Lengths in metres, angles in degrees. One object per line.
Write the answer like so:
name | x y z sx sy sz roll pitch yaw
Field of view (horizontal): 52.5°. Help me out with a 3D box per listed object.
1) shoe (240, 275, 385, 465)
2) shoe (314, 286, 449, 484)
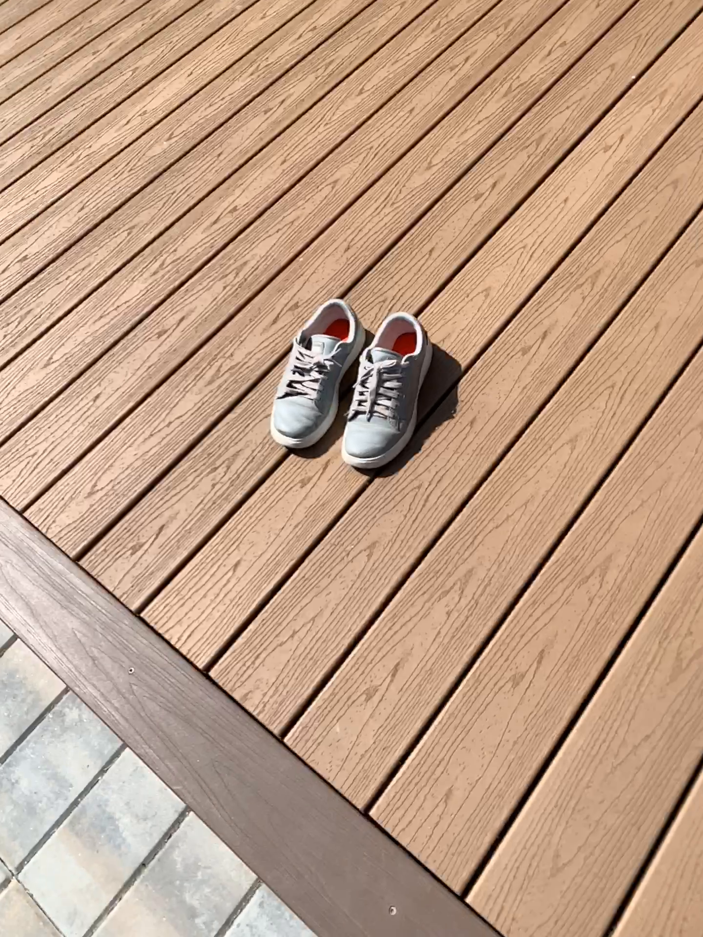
shoe | -0.054 -0.161 1.133 0.120 0.100 0.280 14 63 16
shoe | 0.056 -0.136 1.119 0.120 0.100 0.290 13 62 16
